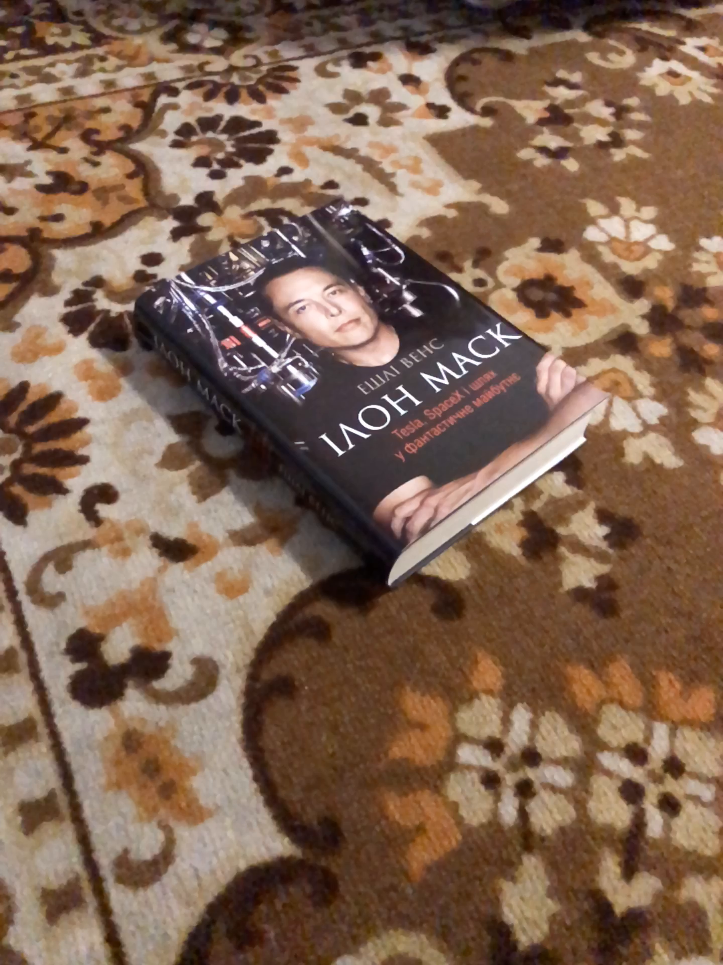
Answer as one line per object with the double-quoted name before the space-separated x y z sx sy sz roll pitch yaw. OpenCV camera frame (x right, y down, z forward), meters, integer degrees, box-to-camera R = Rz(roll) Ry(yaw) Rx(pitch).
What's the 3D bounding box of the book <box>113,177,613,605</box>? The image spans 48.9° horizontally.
"book" -0.005 -0.076 0.500 0.185 0.050 0.251 -33 64 -25
